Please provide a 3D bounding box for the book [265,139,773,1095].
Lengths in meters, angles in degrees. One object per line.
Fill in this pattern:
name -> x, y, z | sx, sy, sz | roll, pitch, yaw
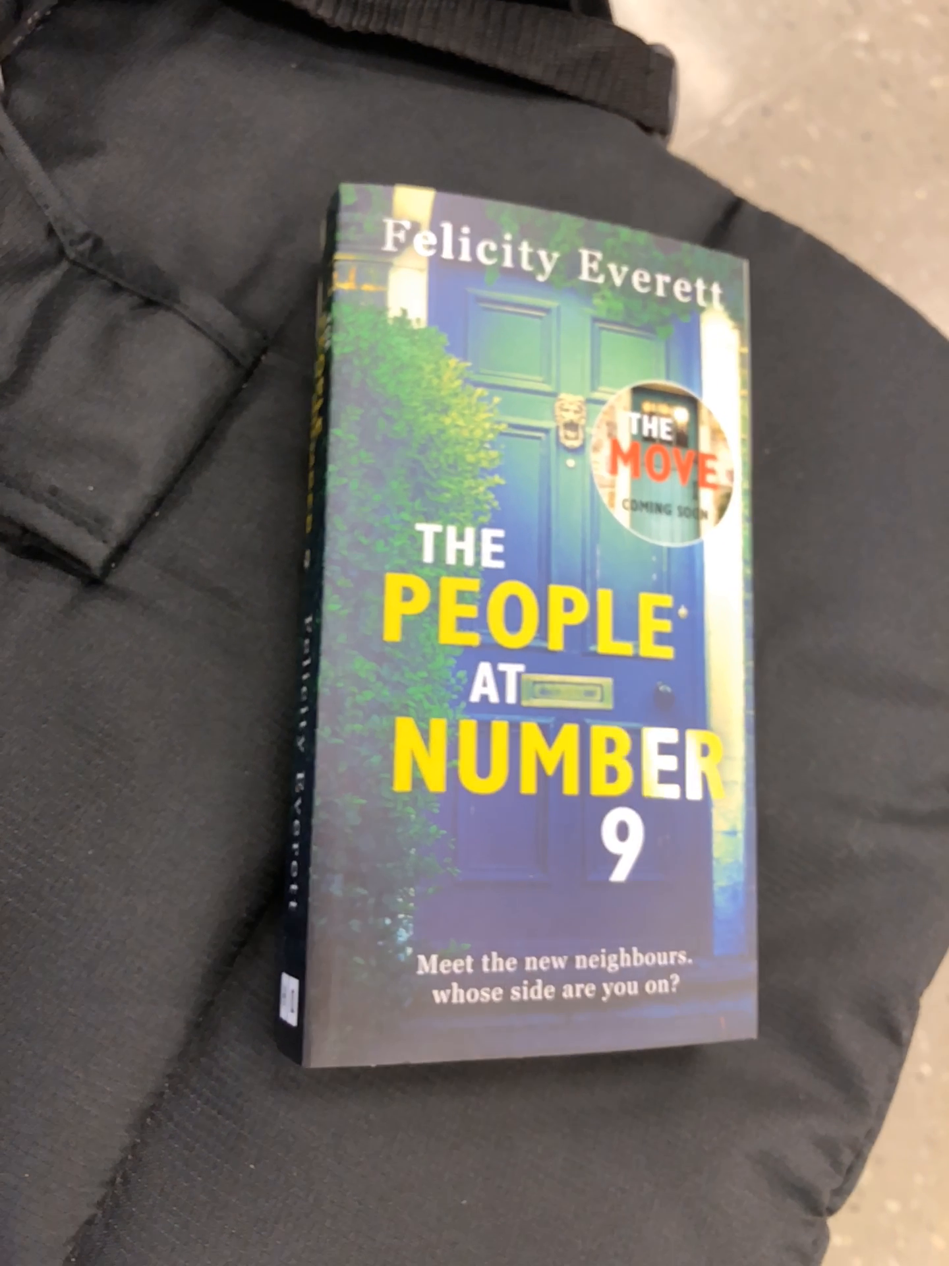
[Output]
book -> 0.014, -0.003, 0.251 | 0.110, 0.030, 0.195 | 5, 82, -22
